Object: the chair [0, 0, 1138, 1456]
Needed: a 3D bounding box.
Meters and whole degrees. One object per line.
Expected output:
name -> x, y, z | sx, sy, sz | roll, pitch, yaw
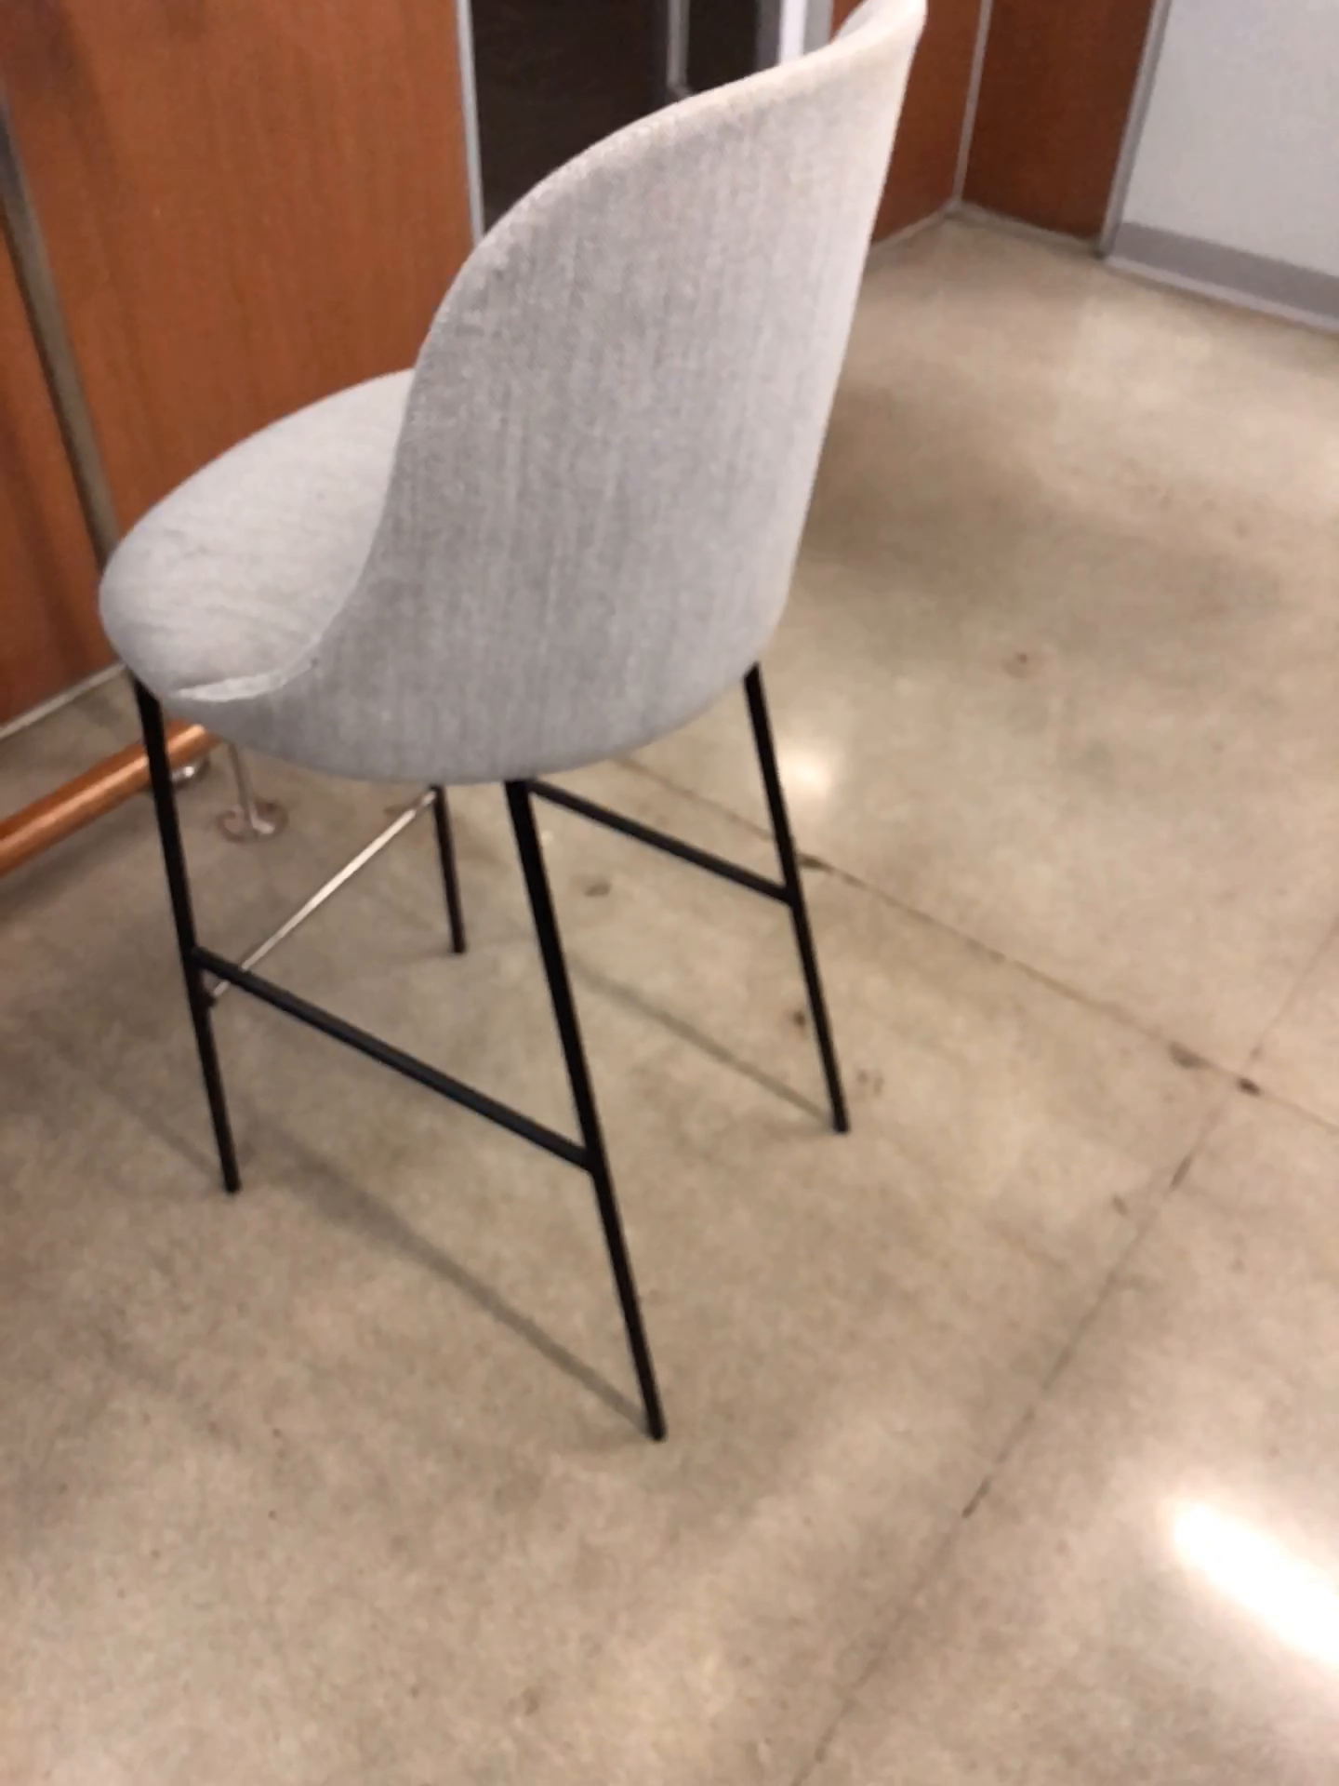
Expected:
chair -> -0.145, -0.155, 1.168 | 0.621, 1.095, 0.461 | 24, 48, 20
